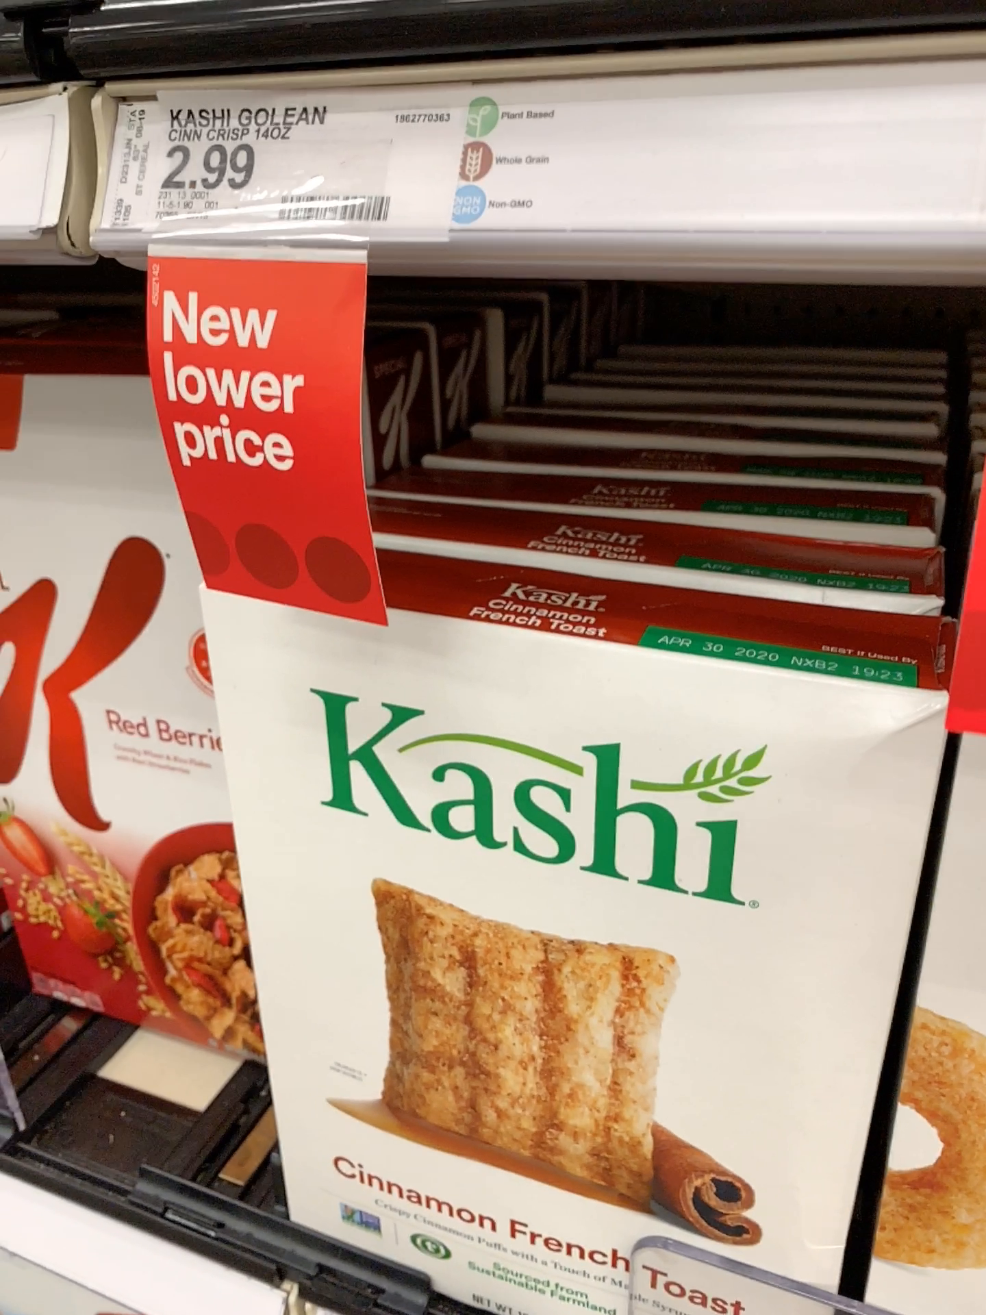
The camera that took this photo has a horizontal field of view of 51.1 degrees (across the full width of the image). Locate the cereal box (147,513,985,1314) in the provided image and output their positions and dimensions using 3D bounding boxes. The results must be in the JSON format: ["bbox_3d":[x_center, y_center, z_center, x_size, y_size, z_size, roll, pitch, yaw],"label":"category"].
[{"bbox_3d":[0.017,0.104,0.322,0.210,0.269,0.060,9,26,22],"label":"cereal box"}]
